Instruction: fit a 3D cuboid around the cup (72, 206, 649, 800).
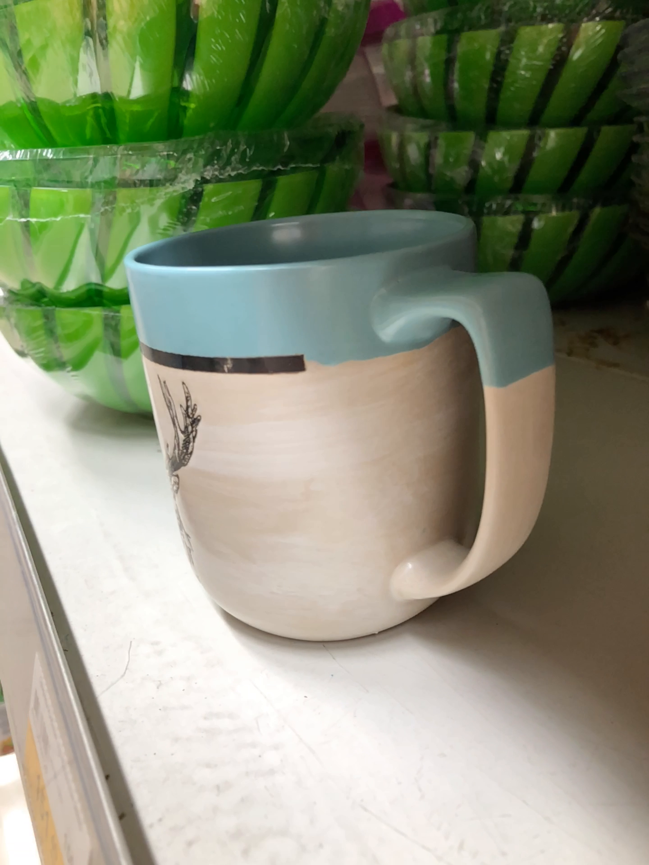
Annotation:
[{"bbox_3d":[0.008,-0.002,0.200,0.093,0.103,0.123,-21,26,-33],"label":"cup"}]
